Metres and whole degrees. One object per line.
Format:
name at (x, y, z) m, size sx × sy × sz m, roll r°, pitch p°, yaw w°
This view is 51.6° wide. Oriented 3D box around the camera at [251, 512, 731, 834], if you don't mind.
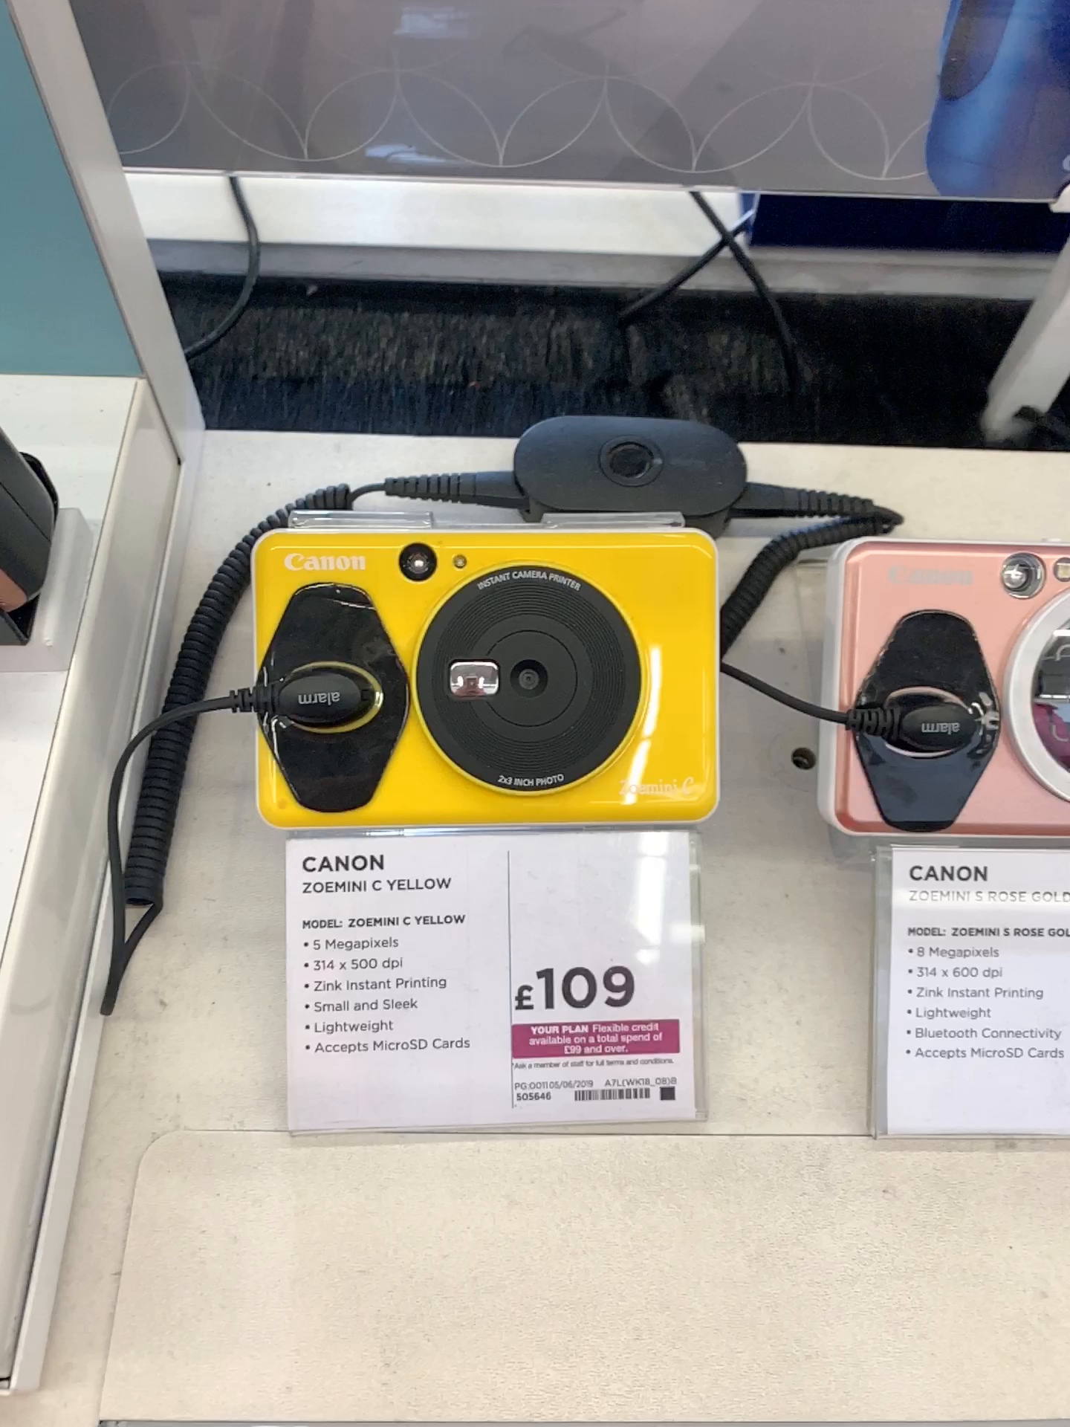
camera at (-0.011, -0.011, 0.289) m, size 0.120 × 0.020 × 0.080 m, roll -1°, pitch 92°, yaw -3°
